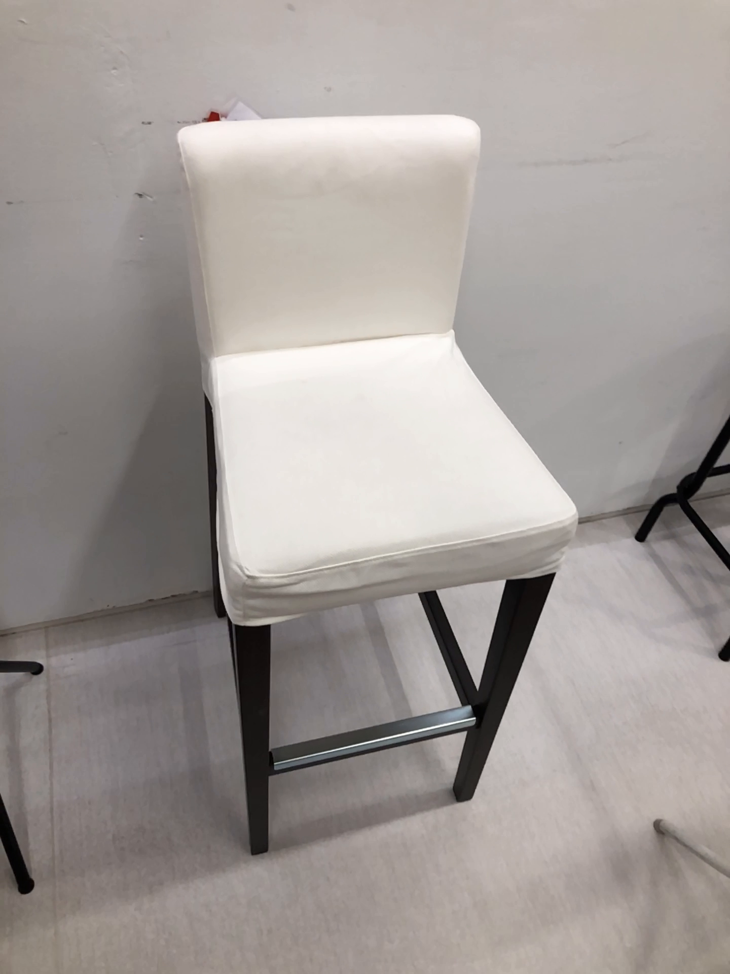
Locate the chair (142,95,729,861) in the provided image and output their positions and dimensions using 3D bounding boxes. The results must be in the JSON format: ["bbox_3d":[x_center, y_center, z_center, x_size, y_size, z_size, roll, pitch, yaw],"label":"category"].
[{"bbox_3d":[0.003,0.023,1.089,0.440,0.855,0.533,-9,47,-14],"label":"chair"}]
